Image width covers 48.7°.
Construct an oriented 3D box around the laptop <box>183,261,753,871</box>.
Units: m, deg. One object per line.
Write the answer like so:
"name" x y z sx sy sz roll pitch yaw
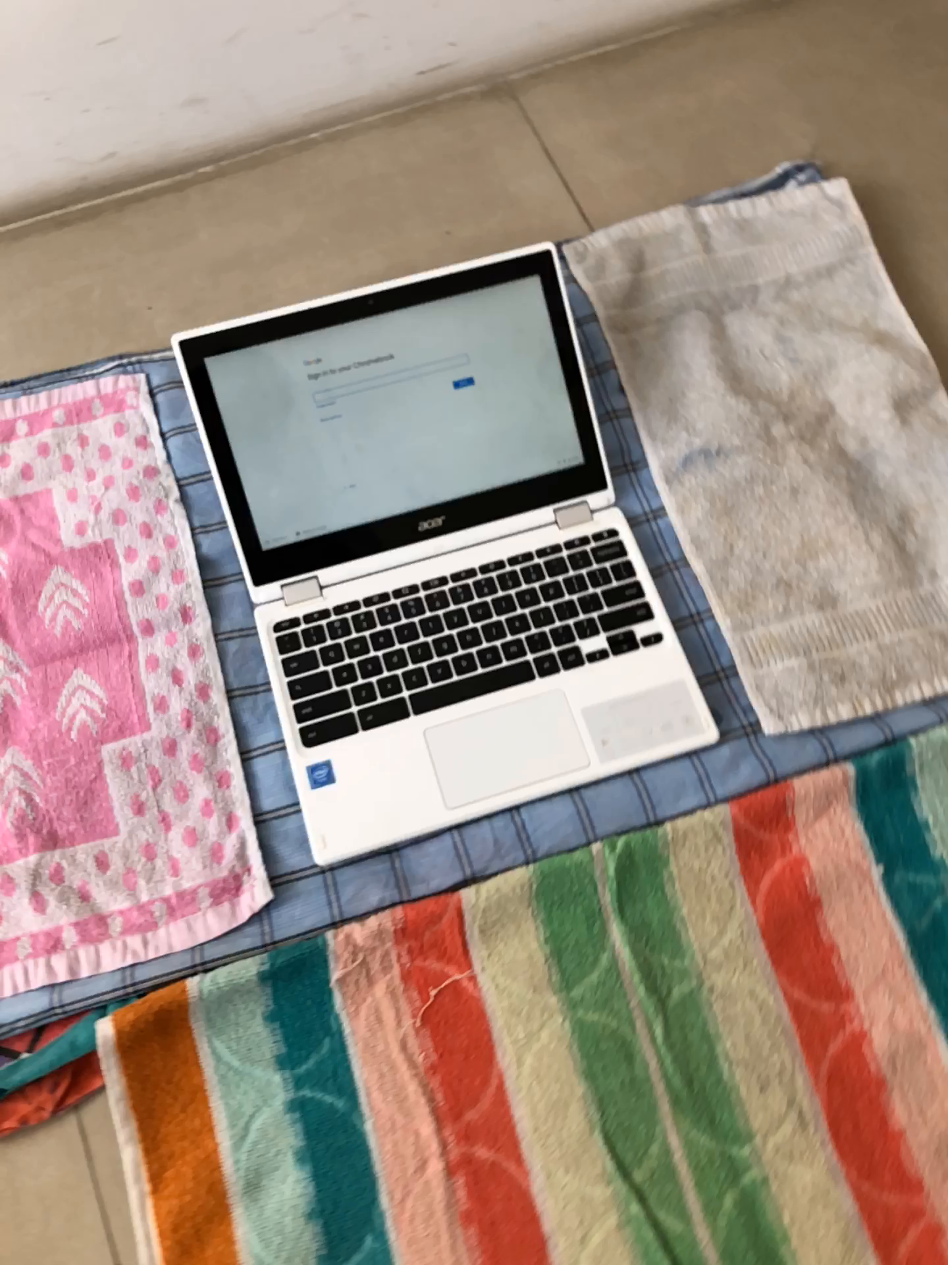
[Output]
"laptop" -0.020 -0.061 0.739 0.285 0.101 0.368 -16 65 -7
